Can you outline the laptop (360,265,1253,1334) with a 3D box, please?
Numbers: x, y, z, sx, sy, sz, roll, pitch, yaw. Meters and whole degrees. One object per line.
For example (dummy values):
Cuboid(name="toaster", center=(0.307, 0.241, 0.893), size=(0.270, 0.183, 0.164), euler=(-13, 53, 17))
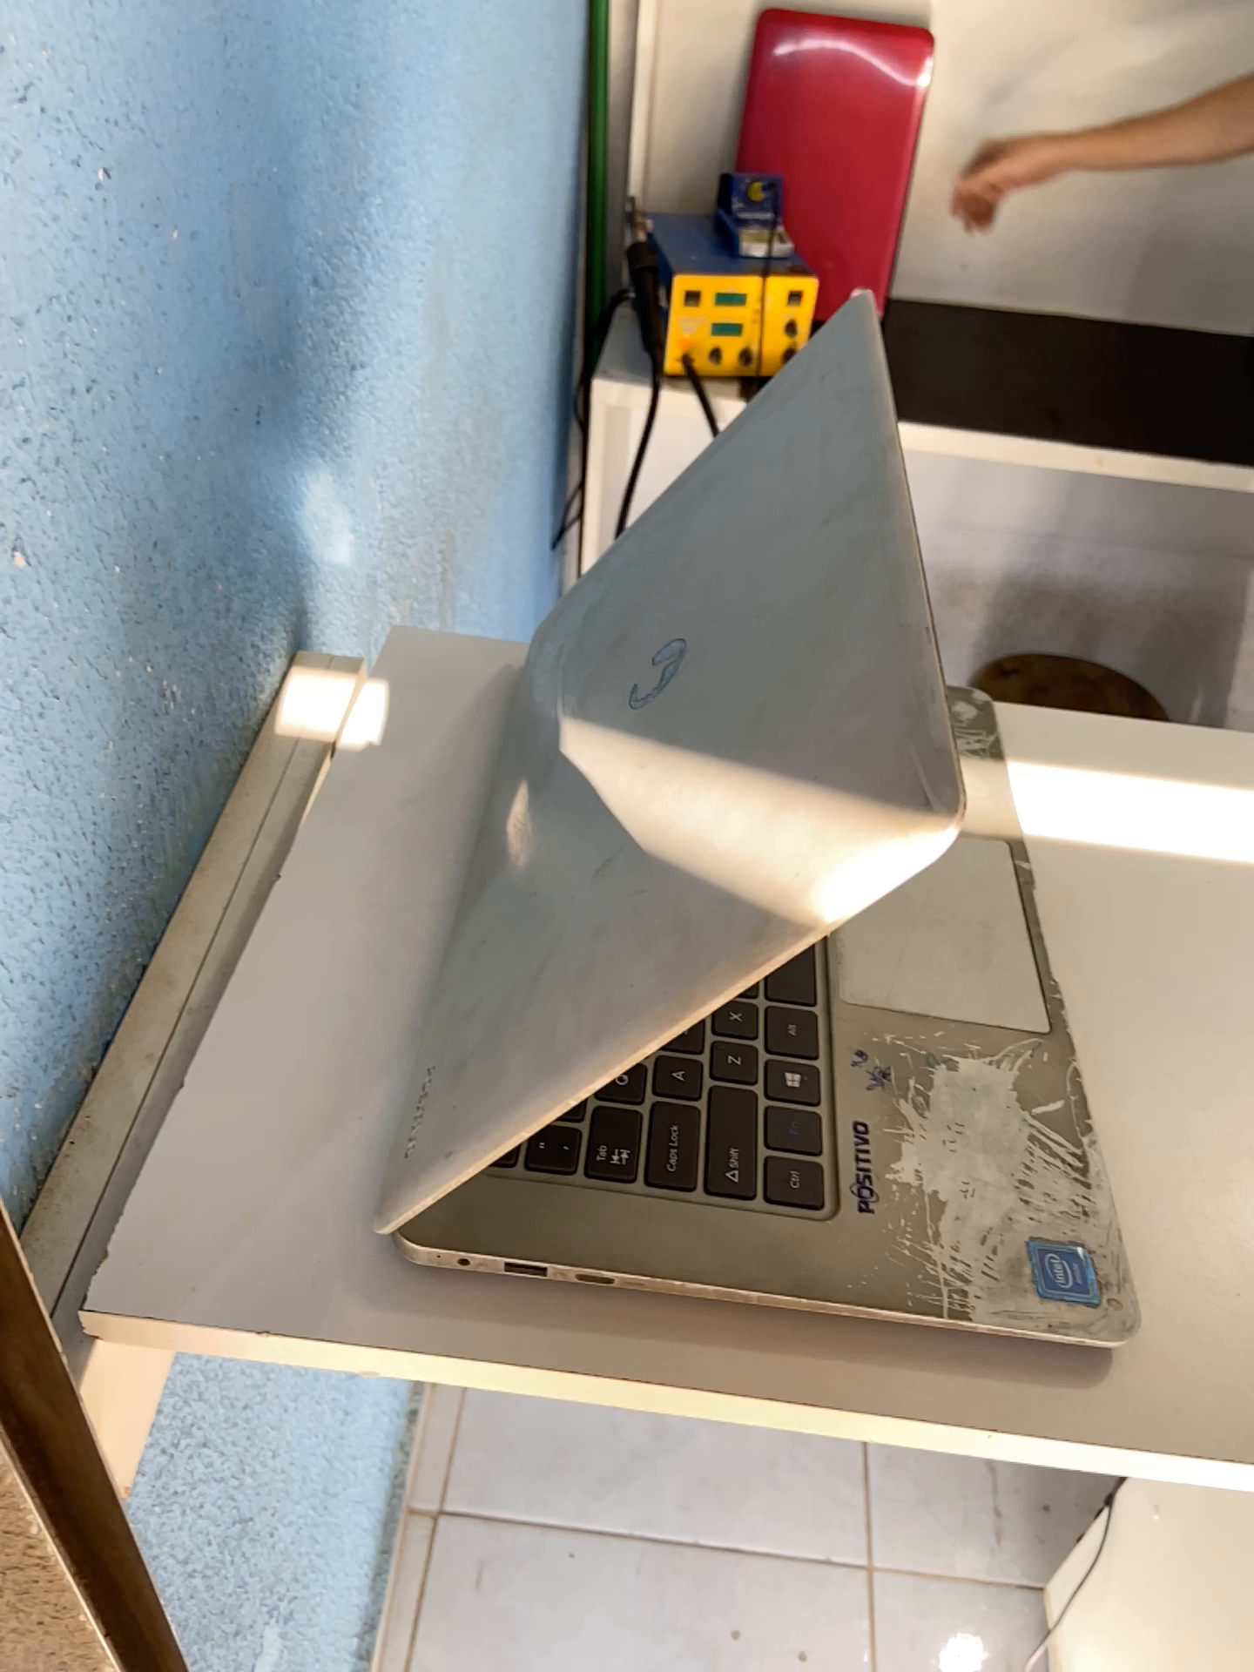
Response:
Cuboid(name="laptop", center=(0.060, -0.042, 0.436), size=(0.211, 0.167, 0.328), euler=(7, 40, 0))
